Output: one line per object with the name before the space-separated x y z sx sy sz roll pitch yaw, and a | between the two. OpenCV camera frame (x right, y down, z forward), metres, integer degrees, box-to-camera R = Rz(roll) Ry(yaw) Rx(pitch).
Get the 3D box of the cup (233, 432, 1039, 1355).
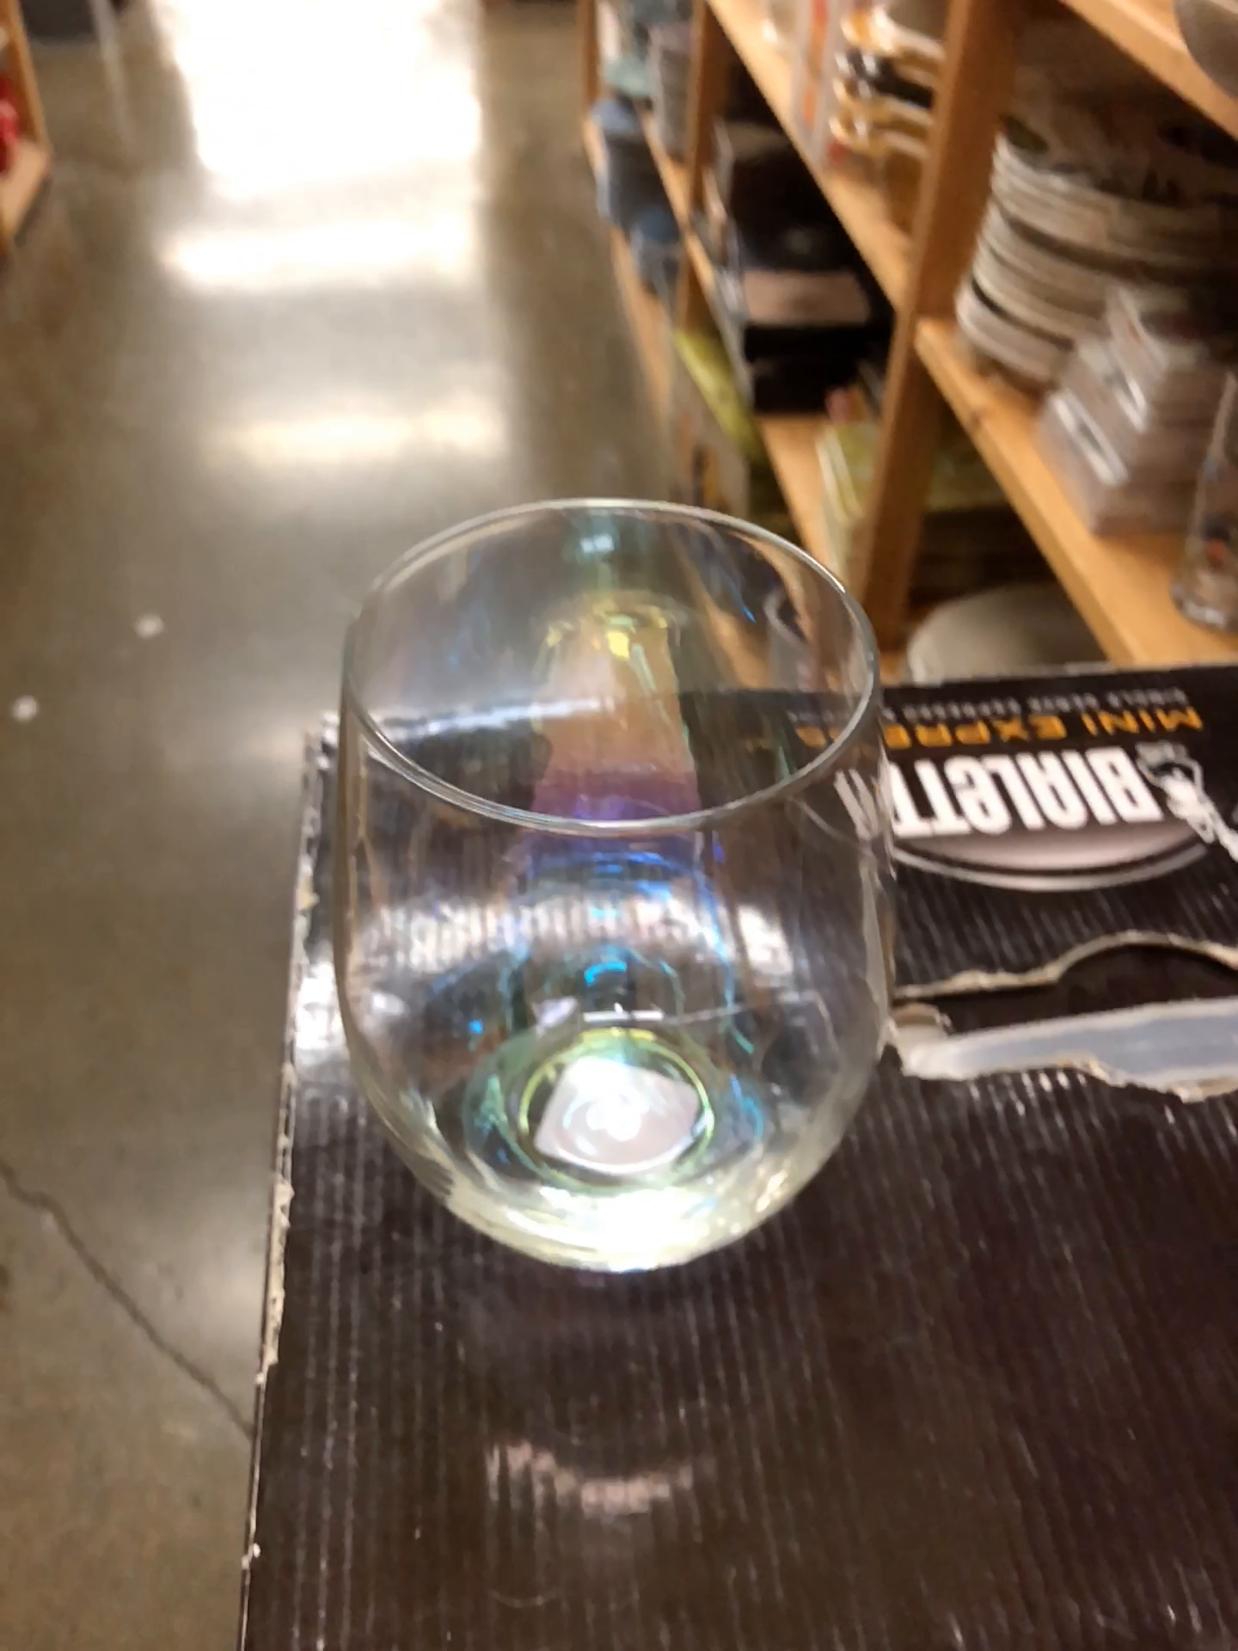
cup | -0.003 0.011 0.223 0.089 0.107 0.093 0 44 0
